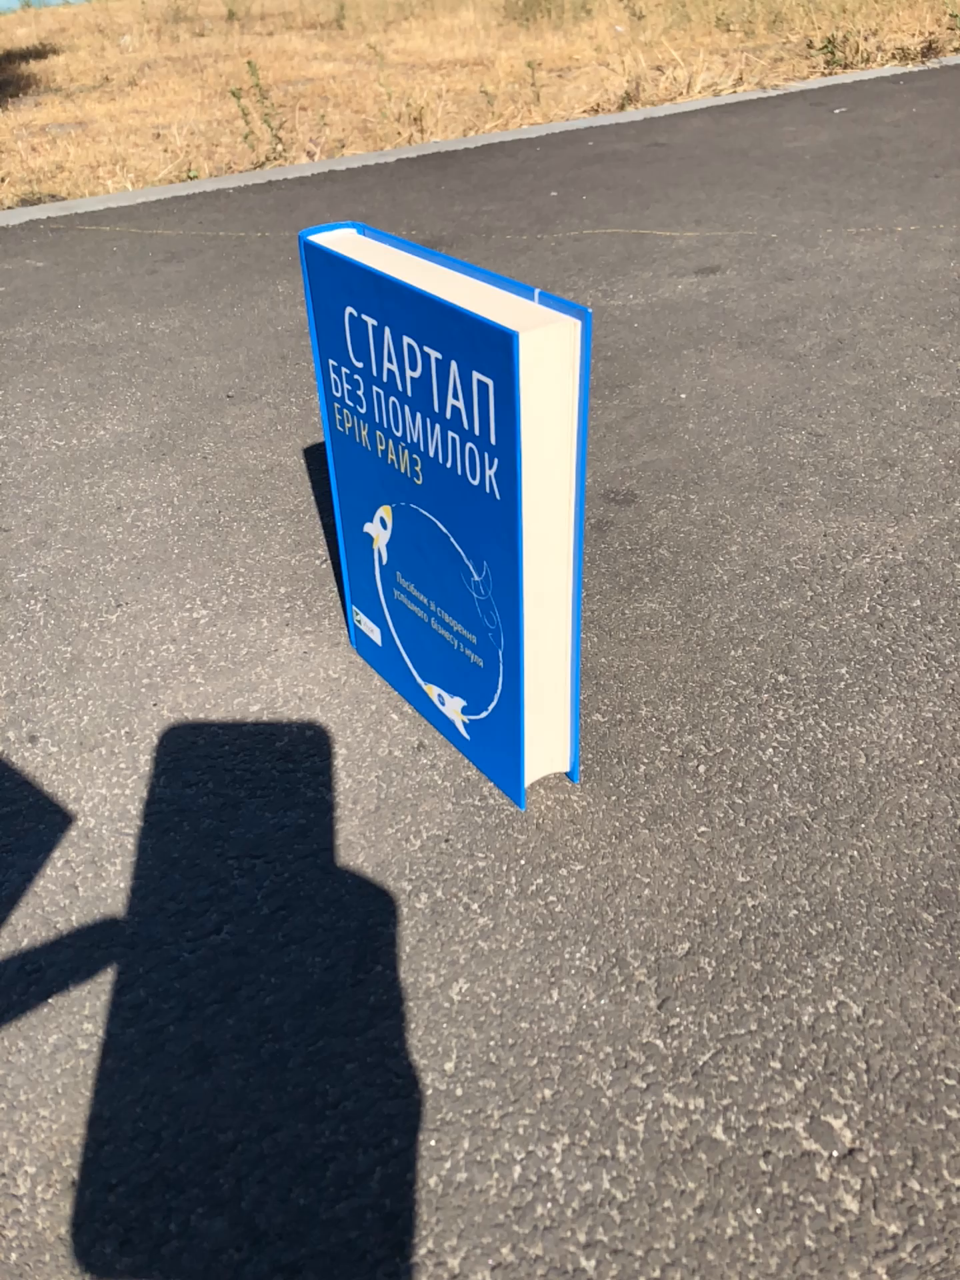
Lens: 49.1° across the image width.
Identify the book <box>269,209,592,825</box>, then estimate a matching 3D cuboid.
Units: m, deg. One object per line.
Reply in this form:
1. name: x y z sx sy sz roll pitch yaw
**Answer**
1. book: -0.022 -0.052 0.428 0.038 0.204 0.155 -21 38 -27
